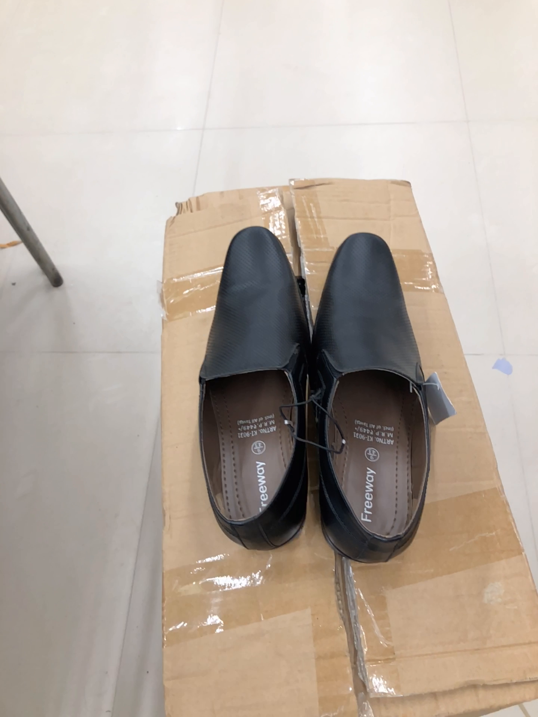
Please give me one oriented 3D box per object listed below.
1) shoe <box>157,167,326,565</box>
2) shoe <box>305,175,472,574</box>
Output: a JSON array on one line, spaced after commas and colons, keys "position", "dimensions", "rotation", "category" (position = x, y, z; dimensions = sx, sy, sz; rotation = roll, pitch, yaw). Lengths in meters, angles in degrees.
[{"position": [-0.014, -0.003, 0.504], "dimensions": [0.100, 0.100, 0.321], "rotation": [-5, 60, 9], "category": "shoe"}, {"position": [0.083, 0.001, 0.495], "dimensions": [0.100, 0.100, 0.321], "rotation": [1, 61, 1], "category": "shoe"}]
